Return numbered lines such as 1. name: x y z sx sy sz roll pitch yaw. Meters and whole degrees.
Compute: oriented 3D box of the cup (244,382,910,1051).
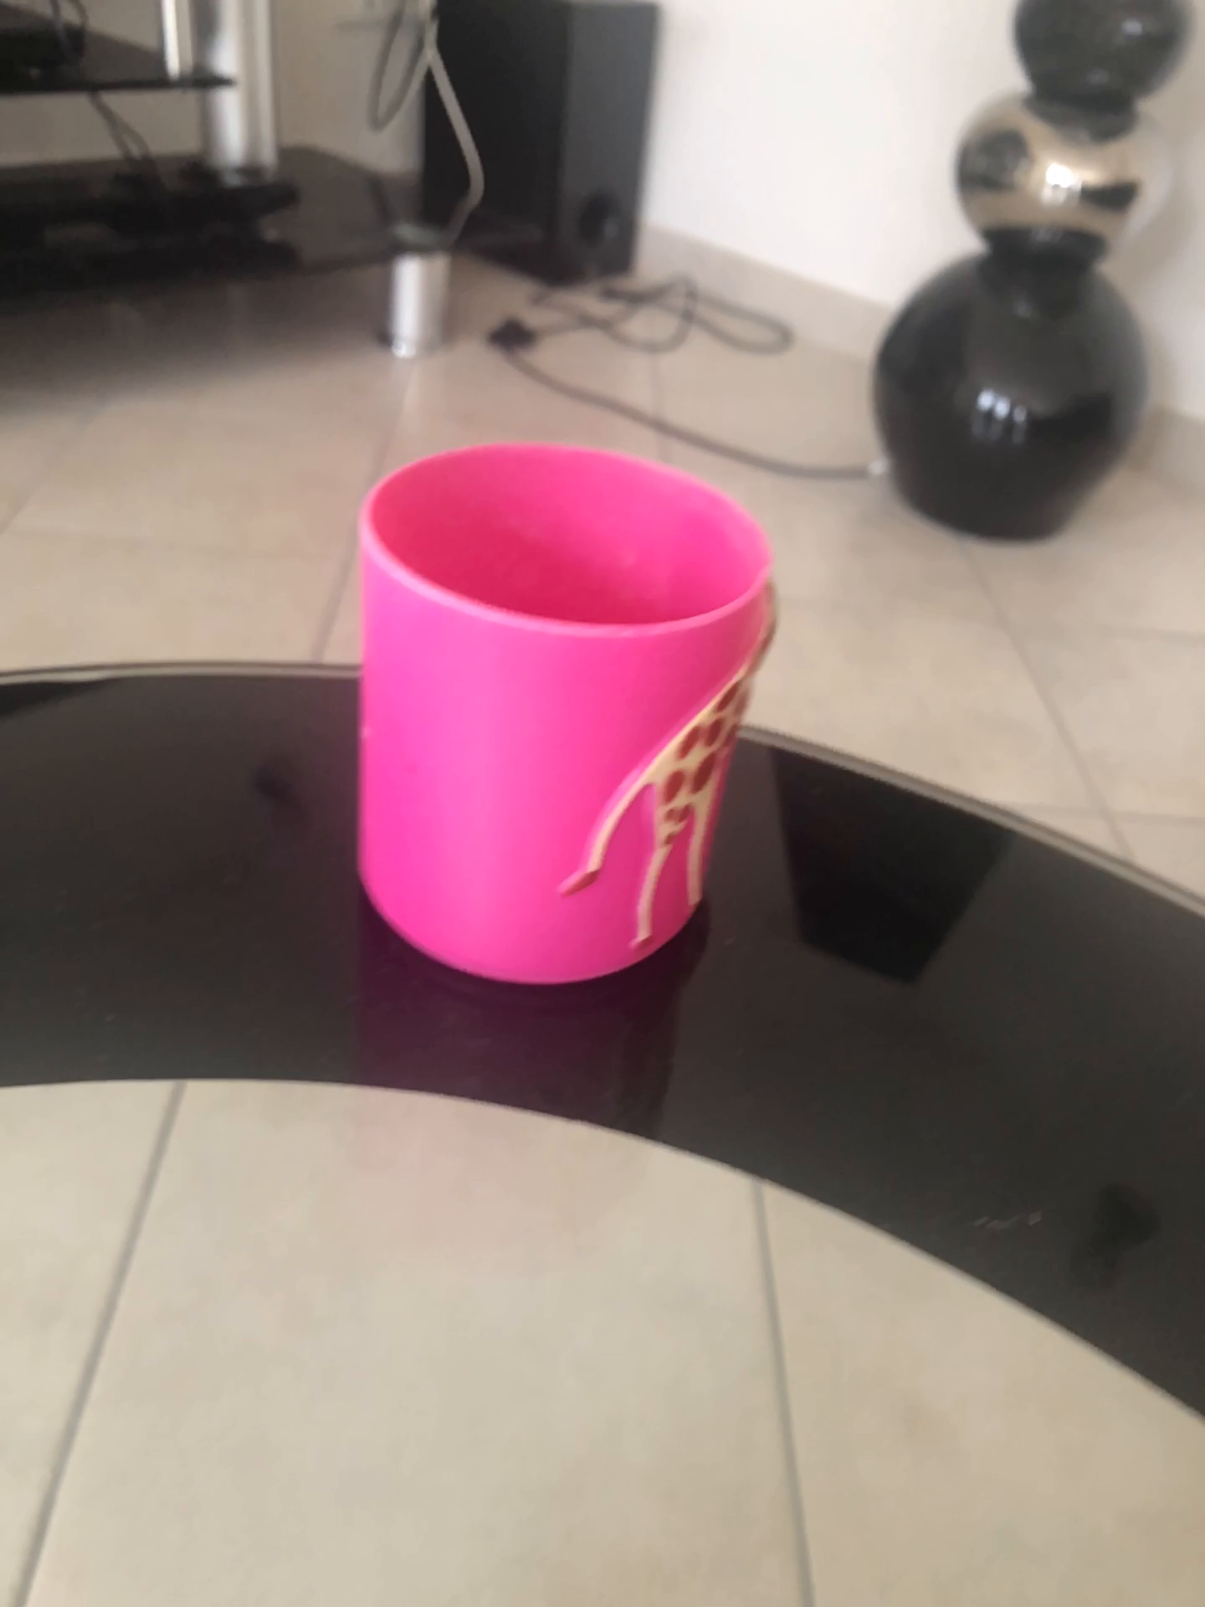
1. cup: -0.004 -0.022 0.243 0.070 0.070 0.091 27 40 25
